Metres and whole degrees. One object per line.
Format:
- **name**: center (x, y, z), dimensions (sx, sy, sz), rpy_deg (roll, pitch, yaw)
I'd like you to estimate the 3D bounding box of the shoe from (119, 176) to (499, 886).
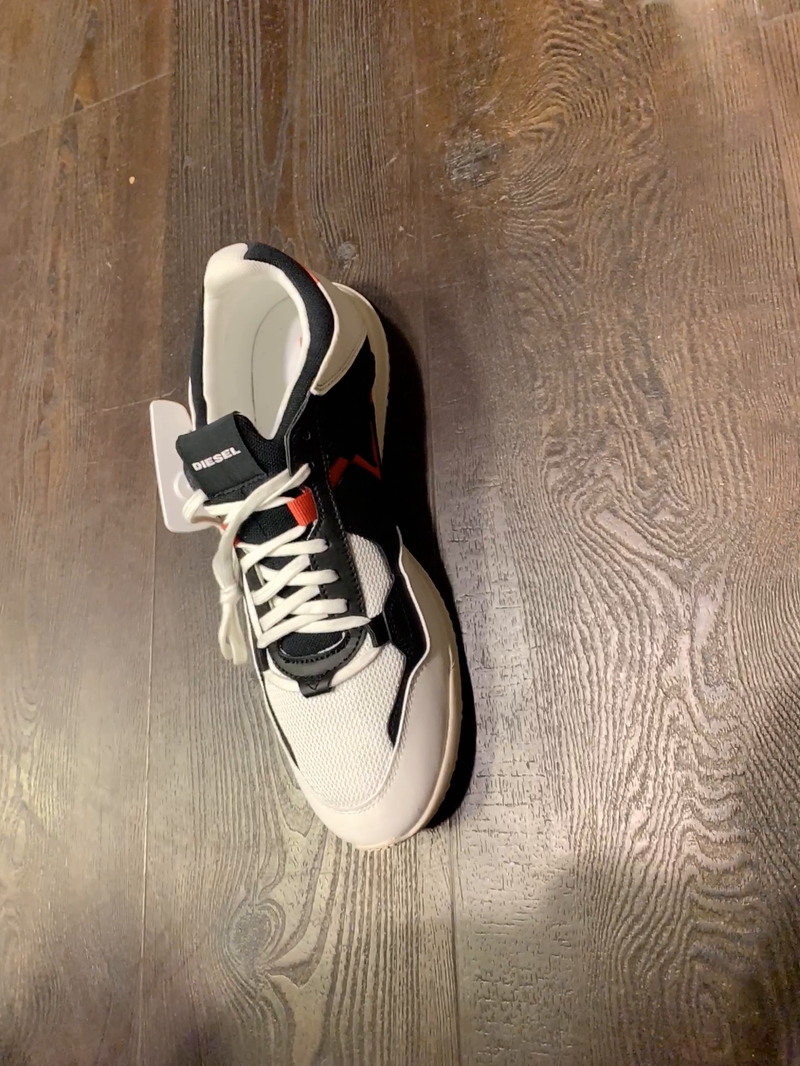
- **shoe**: center (-0.049, 0.000, 0.410), dimensions (0.110, 0.109, 0.301), rpy_deg (-16, 72, 21)
